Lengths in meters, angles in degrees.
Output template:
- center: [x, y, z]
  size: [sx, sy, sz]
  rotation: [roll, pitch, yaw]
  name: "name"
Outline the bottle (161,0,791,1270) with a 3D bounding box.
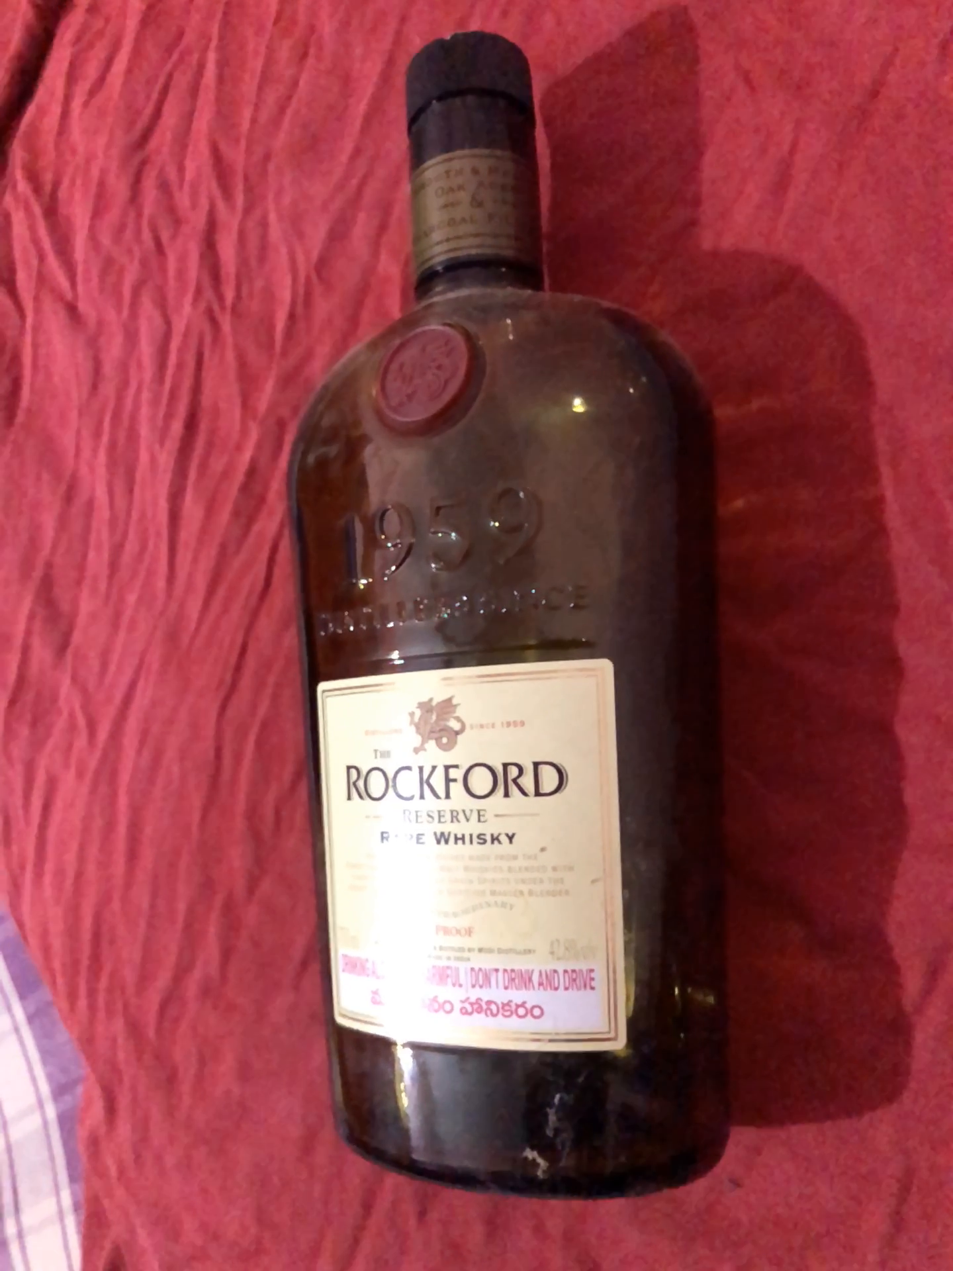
- center: [-0.003, -0.018, 0.222]
  size: [0.100, 0.060, 0.250]
  rotation: [-7, 83, 29]
  name: "bottle"
